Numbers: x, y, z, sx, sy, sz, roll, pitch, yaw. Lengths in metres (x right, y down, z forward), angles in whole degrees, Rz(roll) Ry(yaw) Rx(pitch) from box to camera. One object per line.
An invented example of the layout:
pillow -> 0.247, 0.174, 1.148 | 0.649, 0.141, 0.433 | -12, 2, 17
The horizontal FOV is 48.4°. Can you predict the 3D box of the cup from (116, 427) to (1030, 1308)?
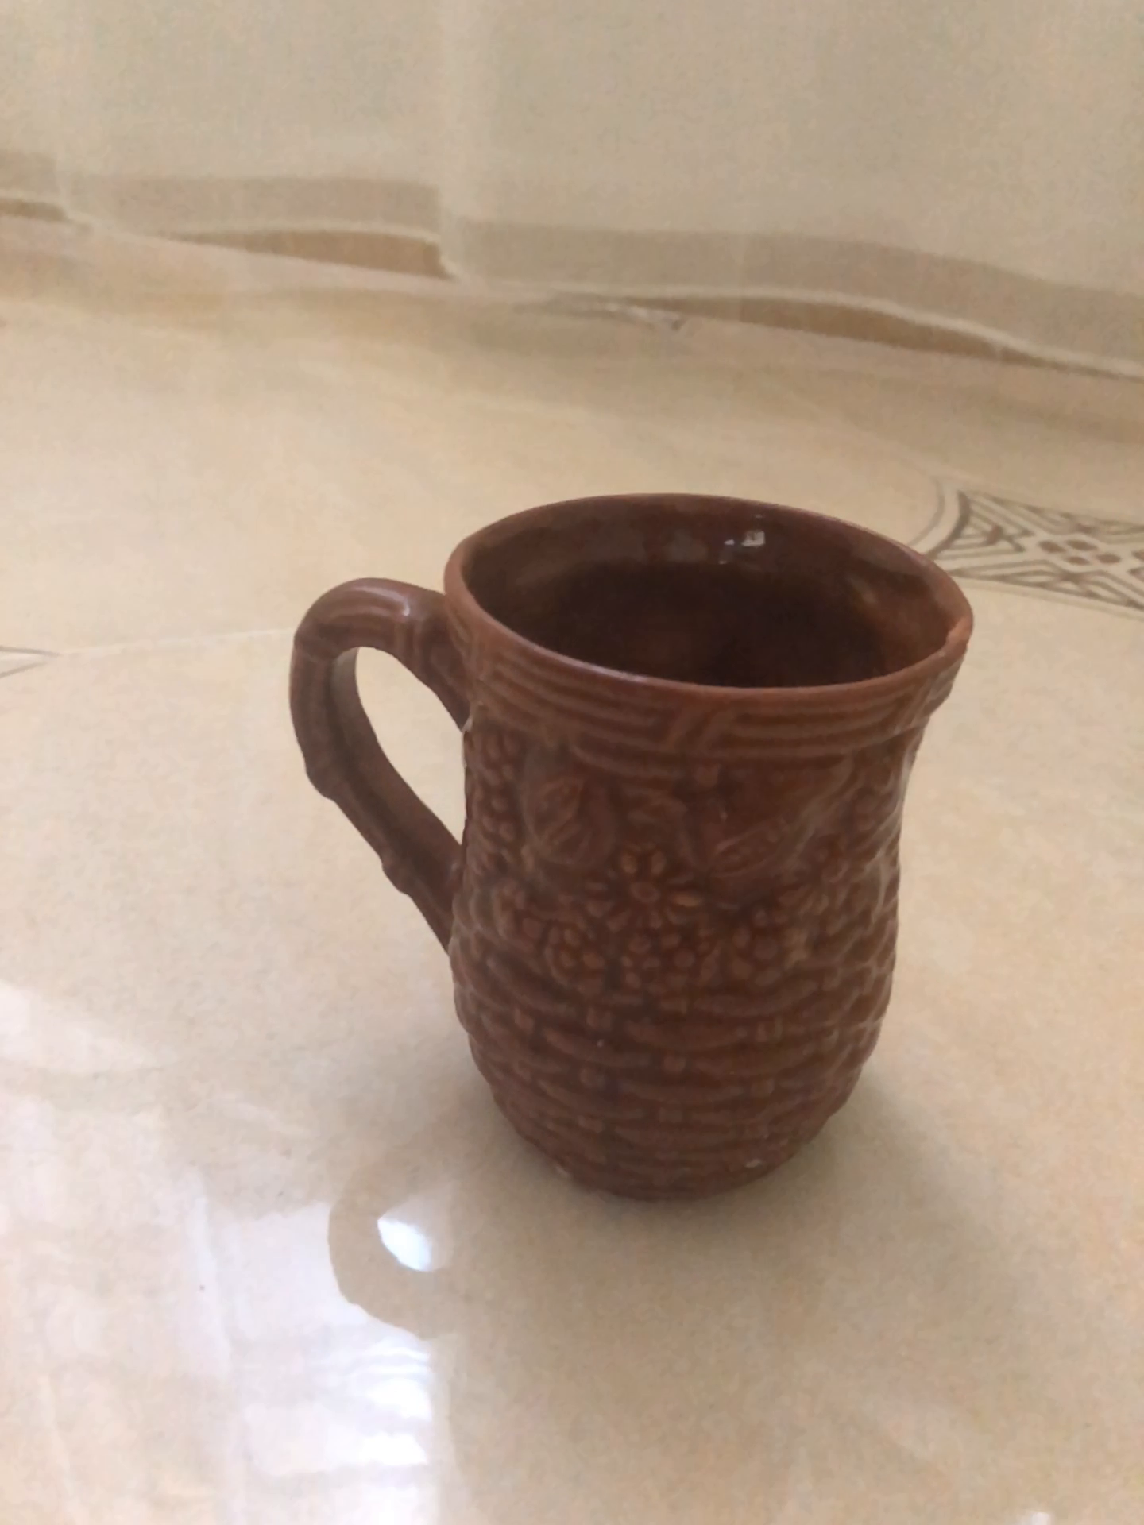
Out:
cup -> 0.000, 0.006, 0.196 | 0.105, 0.081, 0.073 | 19, 33, 26
